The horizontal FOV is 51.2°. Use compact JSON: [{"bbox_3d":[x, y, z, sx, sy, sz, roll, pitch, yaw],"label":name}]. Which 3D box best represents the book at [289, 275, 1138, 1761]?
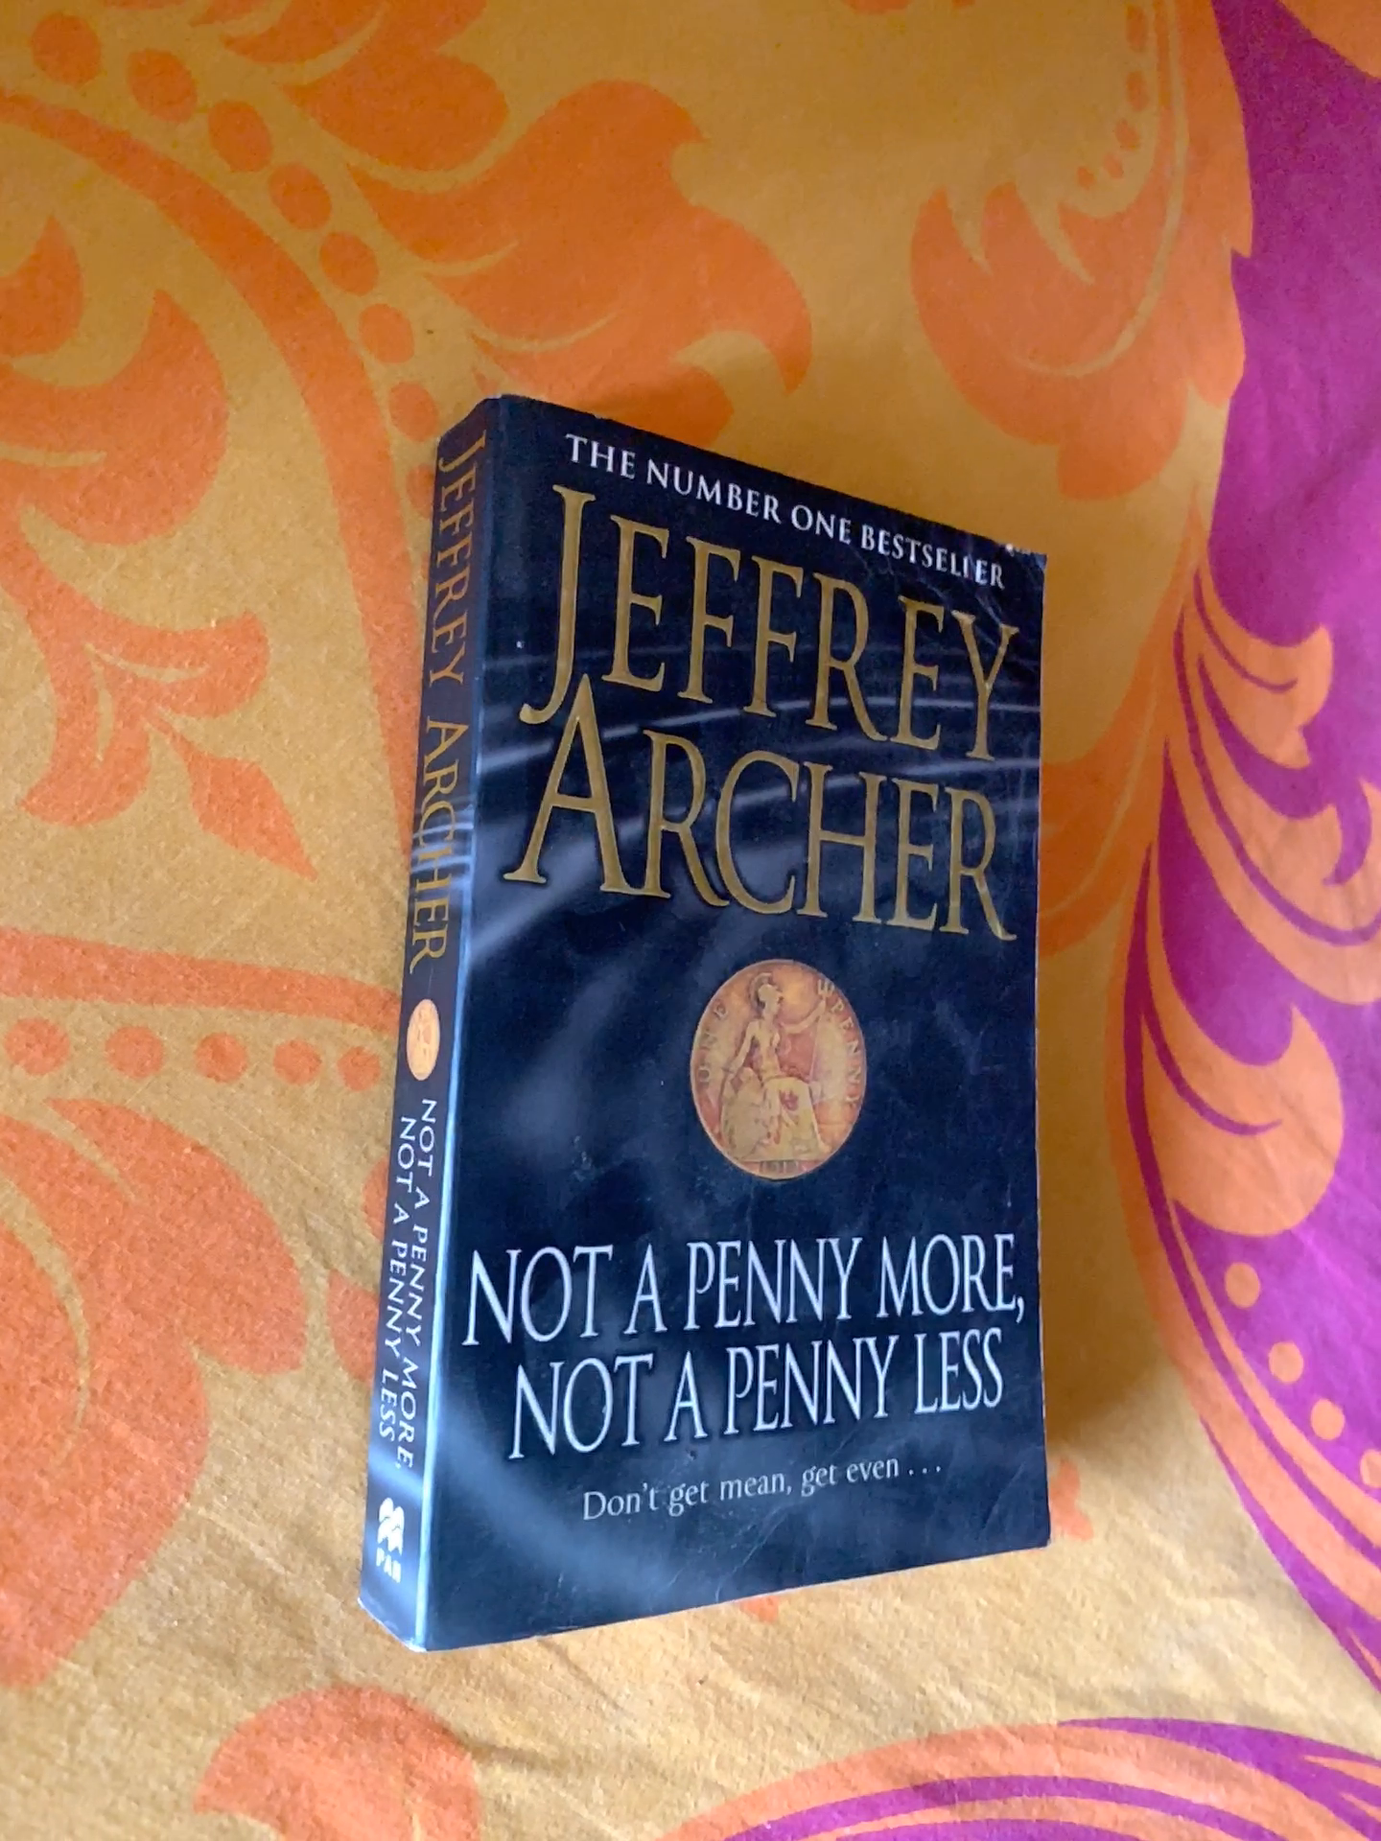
[{"bbox_3d":[0.009,0.011,0.197,0.110,0.030,0.160,6,80,-32],"label":"book"}]
